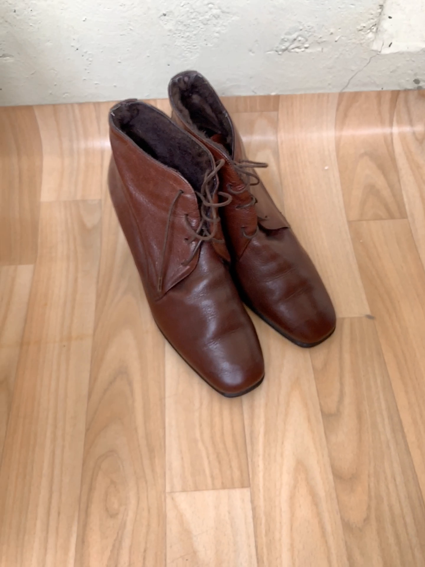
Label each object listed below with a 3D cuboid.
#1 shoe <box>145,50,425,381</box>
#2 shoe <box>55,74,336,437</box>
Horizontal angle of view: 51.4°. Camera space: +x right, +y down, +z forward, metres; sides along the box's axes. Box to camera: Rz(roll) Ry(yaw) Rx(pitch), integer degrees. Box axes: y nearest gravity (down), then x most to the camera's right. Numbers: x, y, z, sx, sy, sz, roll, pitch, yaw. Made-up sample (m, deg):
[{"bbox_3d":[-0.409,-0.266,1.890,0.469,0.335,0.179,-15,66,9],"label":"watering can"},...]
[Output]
[{"bbox_3d":[0.041,-0.053,0.367,0.080,0.150,0.220,-29,65,-15],"label":"shoe"},{"bbox_3d":[-0.022,-0.018,0.336,0.080,0.150,0.220,-25,64,-13],"label":"shoe"}]
